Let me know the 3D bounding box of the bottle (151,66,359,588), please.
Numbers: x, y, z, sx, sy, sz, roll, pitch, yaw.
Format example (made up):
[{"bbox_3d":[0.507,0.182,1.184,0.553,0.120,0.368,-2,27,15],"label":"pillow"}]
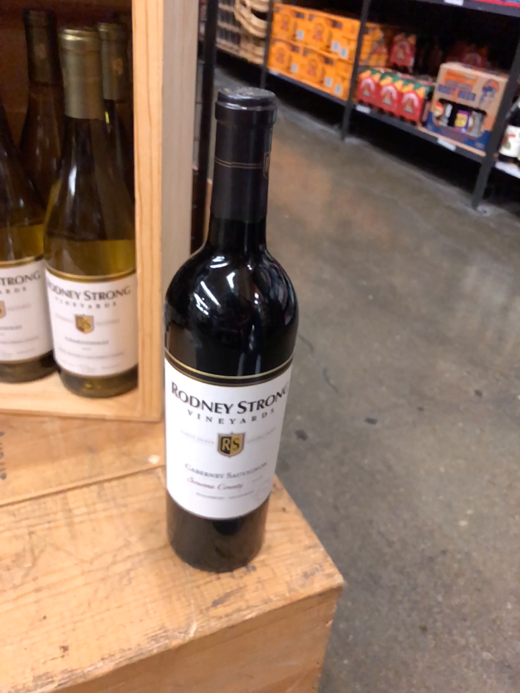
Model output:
[{"bbox_3d":[-0.018,0.014,0.340,0.080,0.309,0.070,4,32,-6],"label":"bottle"}]
